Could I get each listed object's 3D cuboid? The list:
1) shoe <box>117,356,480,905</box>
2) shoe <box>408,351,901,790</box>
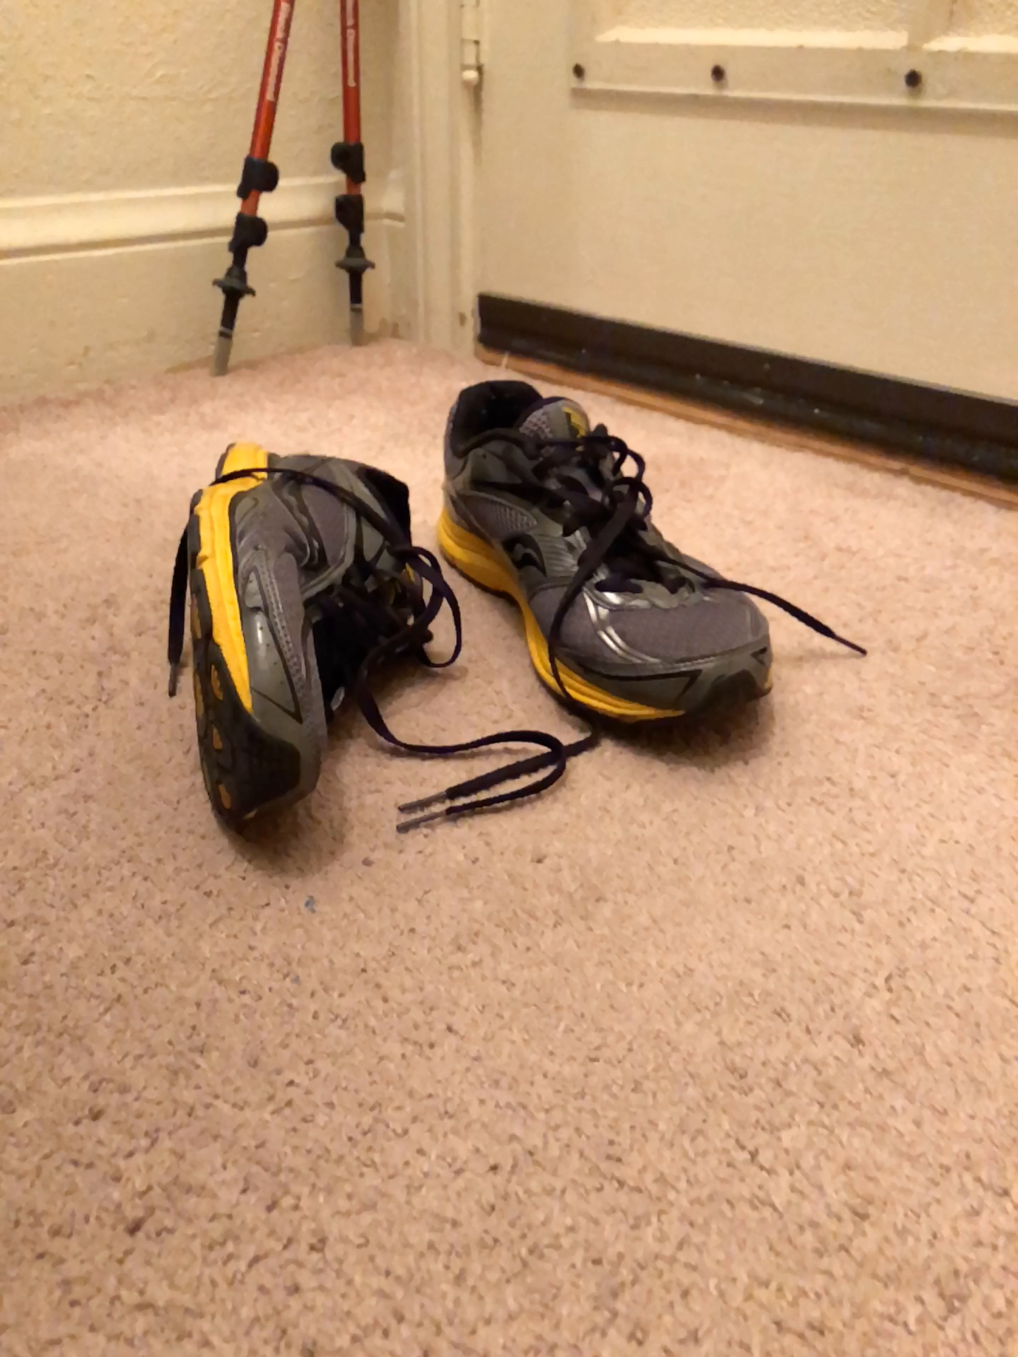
[{"bbox_3d":[-0.092,-0.047,0.512,0.109,0.117,0.295,-6,30,-8],"label":"shoe"},{"bbox_3d":[0.047,-0.075,0.558,0.118,0.098,0.284,-10,31,-18],"label":"shoe"}]
